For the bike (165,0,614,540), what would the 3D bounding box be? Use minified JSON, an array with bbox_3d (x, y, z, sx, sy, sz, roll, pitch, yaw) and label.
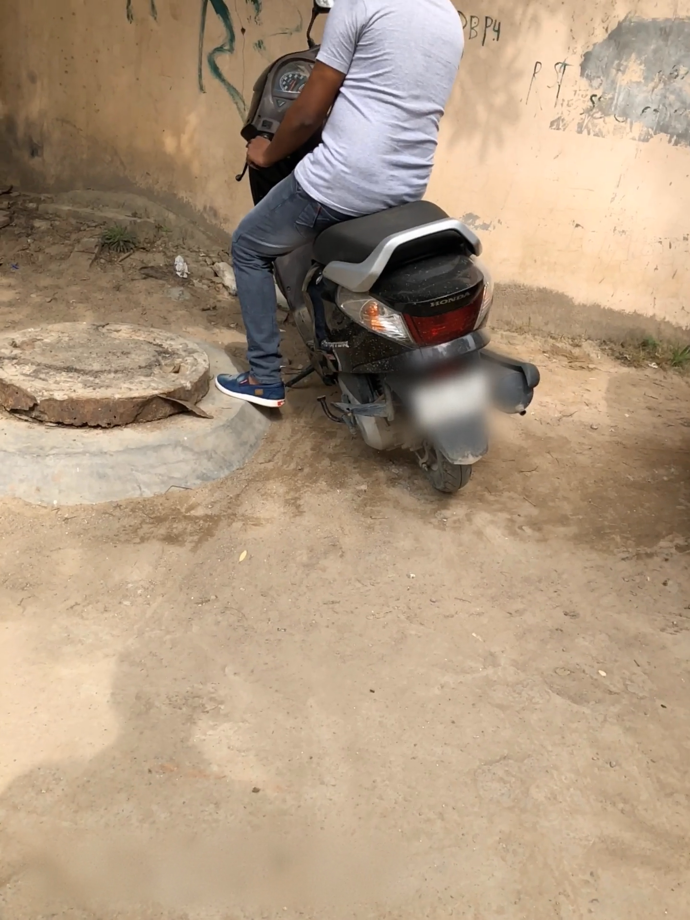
[{"bbox_3d":[-0.080,-0.773,2.545,0.653,1.228,1.657,-5,31,-25],"label":"bike"}]
